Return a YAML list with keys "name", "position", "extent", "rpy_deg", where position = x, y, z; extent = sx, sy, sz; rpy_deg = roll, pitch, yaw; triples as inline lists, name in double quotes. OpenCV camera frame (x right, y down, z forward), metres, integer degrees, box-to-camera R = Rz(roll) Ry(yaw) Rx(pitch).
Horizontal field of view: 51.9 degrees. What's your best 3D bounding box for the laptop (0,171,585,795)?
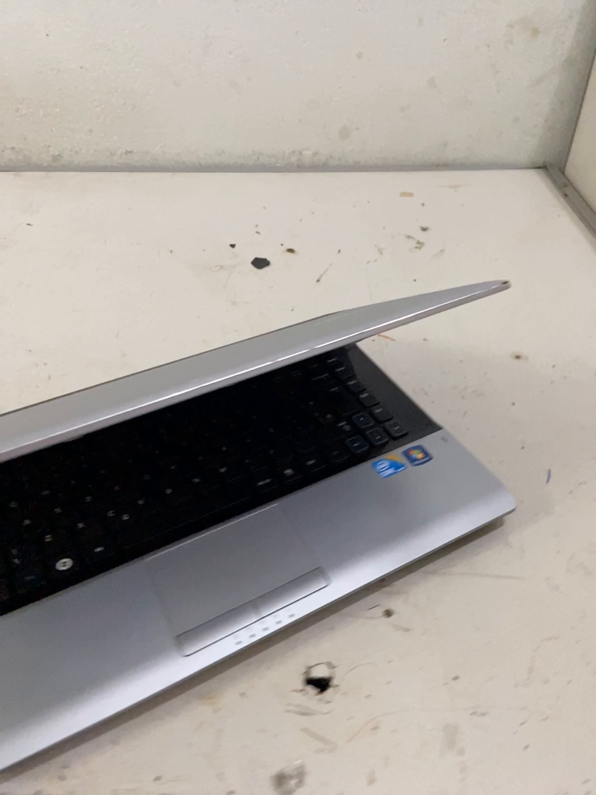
- name: "laptop"
  position: [-0.059, 0.002, 0.363]
  extent: [0.337, 0.133, 0.233]
  rpy_deg: [-20, 45, -22]
